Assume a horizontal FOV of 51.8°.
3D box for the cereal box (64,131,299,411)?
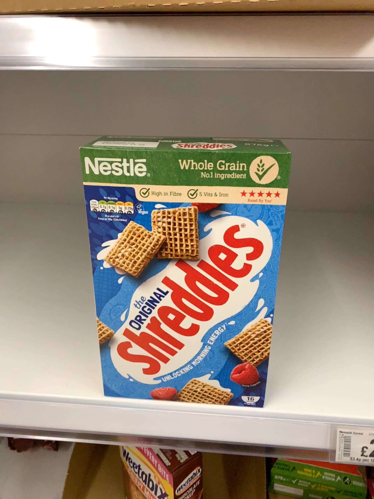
[{"bbox_3d":[-0.004,0.028,0.419,0.200,0.288,0.081,3,24,5],"label":"cereal box"}]
